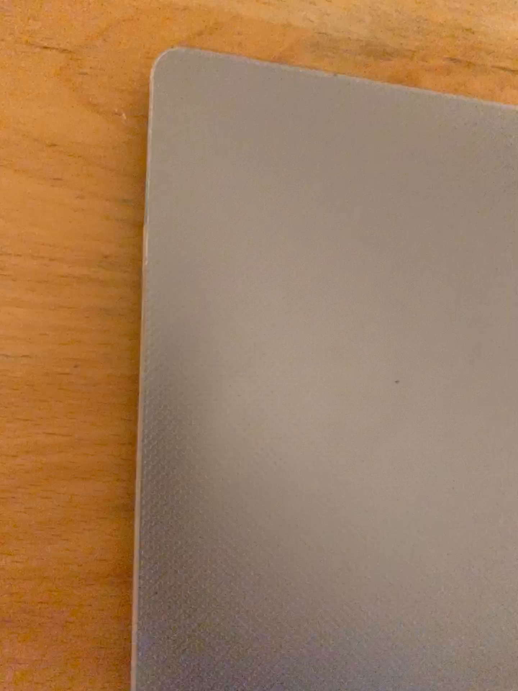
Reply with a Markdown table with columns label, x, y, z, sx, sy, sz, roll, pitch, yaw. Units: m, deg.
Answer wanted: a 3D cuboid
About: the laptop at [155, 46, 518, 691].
| label | x | y | z | sx | sy | sz | roll | pitch | yaw |
| --- | --- | --- | --- | --- | --- | --- | --- | --- | --- |
| laptop | 0.111 | 0.015 | 0.208 | 0.292 | 0.005 | 0.210 | 2 | 87 | -14 |
